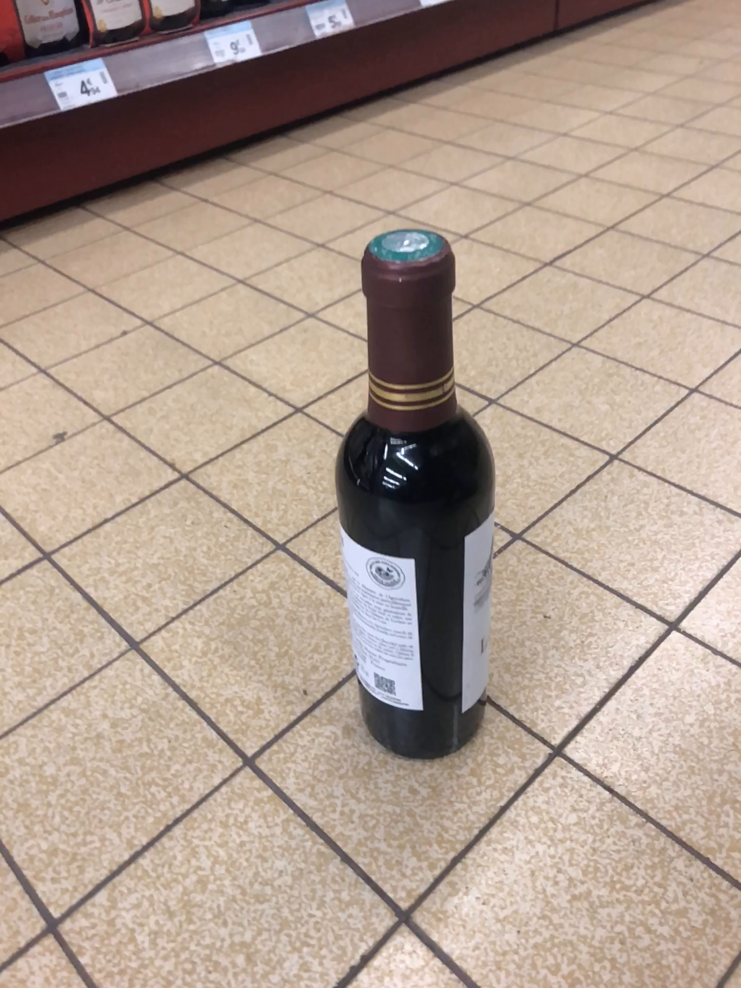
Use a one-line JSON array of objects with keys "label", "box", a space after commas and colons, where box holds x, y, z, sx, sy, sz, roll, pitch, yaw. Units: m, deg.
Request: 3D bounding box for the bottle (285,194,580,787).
[{"label": "bottle", "box": [0.023, 0.011, 0.313, 0.060, 0.219, 0.070, -22, 42, -19]}]
